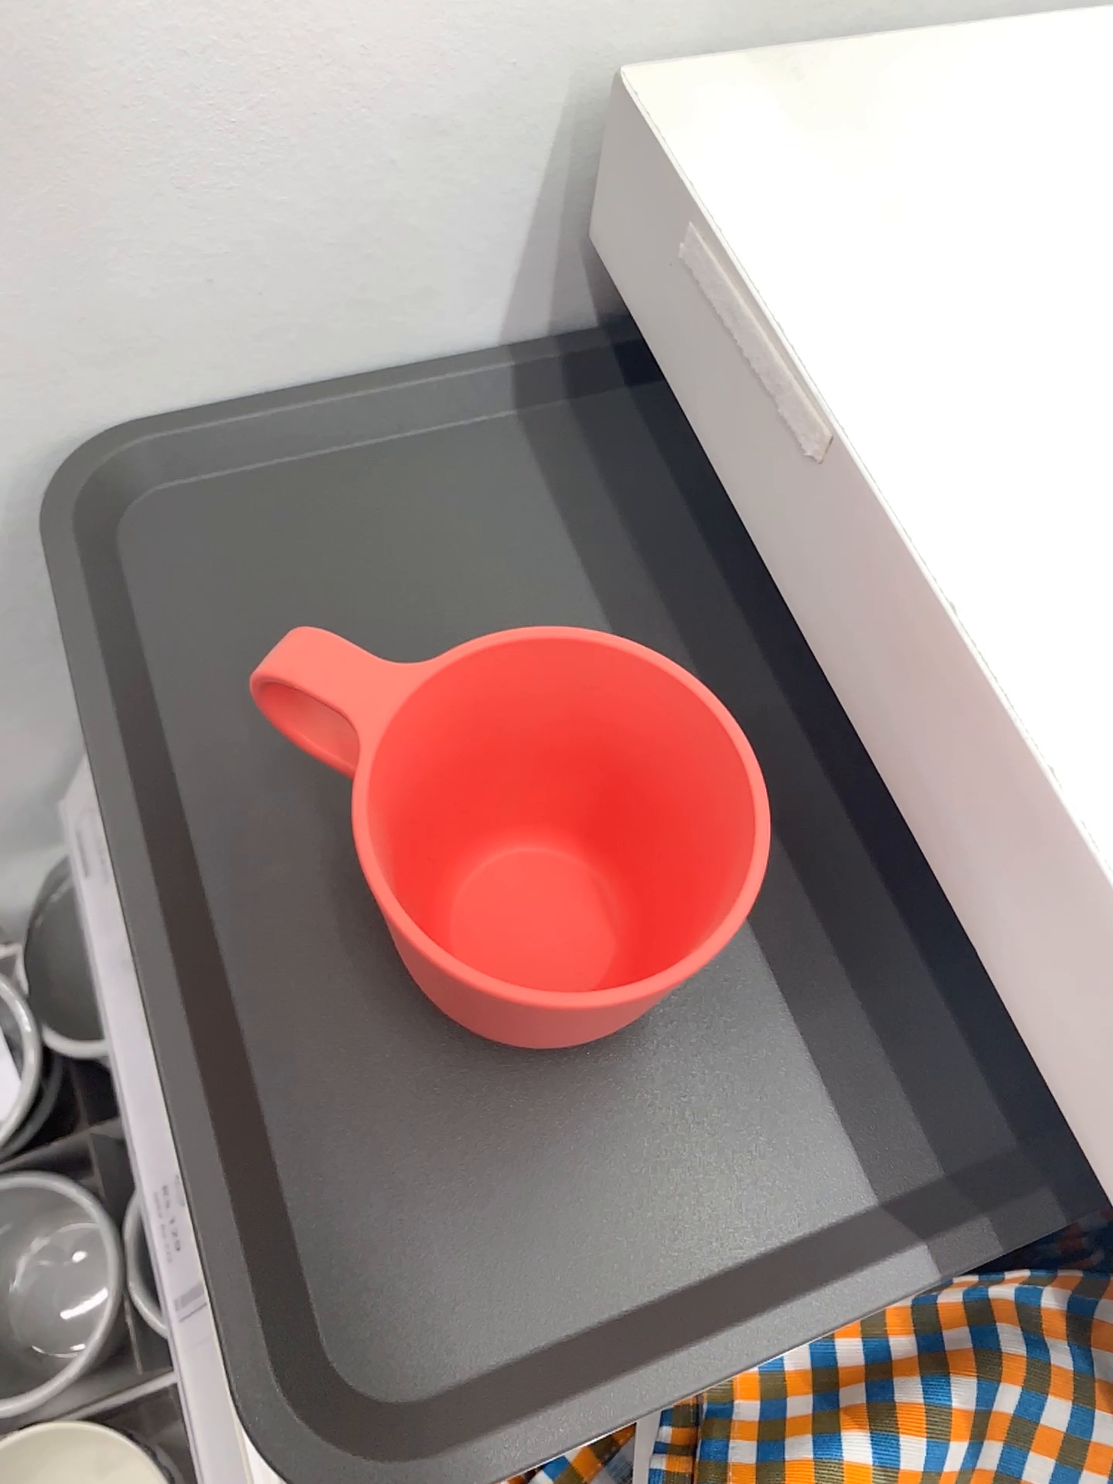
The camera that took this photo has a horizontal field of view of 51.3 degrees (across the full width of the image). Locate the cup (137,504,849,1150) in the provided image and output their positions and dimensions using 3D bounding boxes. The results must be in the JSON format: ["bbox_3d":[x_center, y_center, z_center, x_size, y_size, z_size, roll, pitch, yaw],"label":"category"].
[{"bbox_3d":[-0.013,0.021,0.246,0.110,0.080,0.070,26,62,7],"label":"cup"}]
